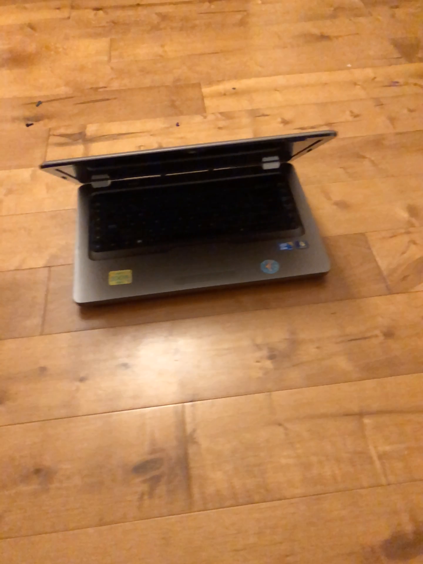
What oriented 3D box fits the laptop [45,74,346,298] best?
[{"bbox_3d":[-0.026,-0.141,0.657,0.346,0.164,0.224,-7,53,-5],"label":"laptop"}]
